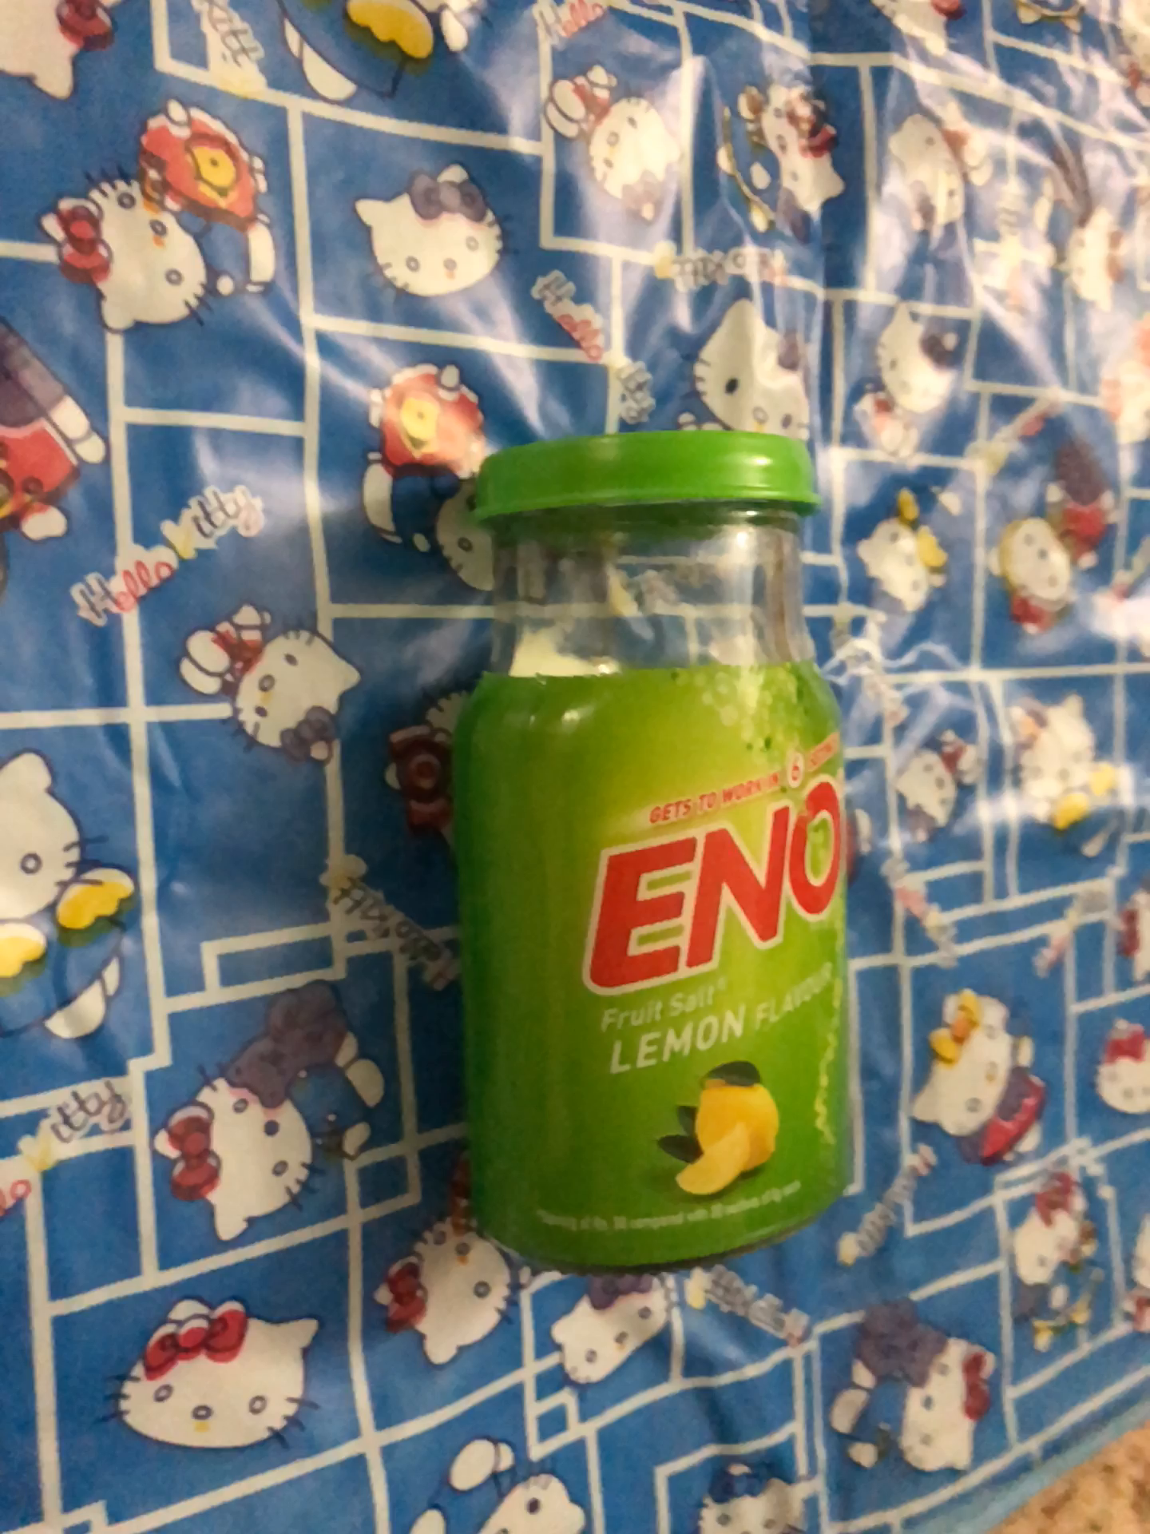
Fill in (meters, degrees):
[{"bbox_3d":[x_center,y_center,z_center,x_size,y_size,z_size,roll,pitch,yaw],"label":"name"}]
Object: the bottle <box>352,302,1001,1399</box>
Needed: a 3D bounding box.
[{"bbox_3d":[0.012,0.006,0.165,0.060,0.050,0.110,-7,100,-33],"label":"bottle"}]
